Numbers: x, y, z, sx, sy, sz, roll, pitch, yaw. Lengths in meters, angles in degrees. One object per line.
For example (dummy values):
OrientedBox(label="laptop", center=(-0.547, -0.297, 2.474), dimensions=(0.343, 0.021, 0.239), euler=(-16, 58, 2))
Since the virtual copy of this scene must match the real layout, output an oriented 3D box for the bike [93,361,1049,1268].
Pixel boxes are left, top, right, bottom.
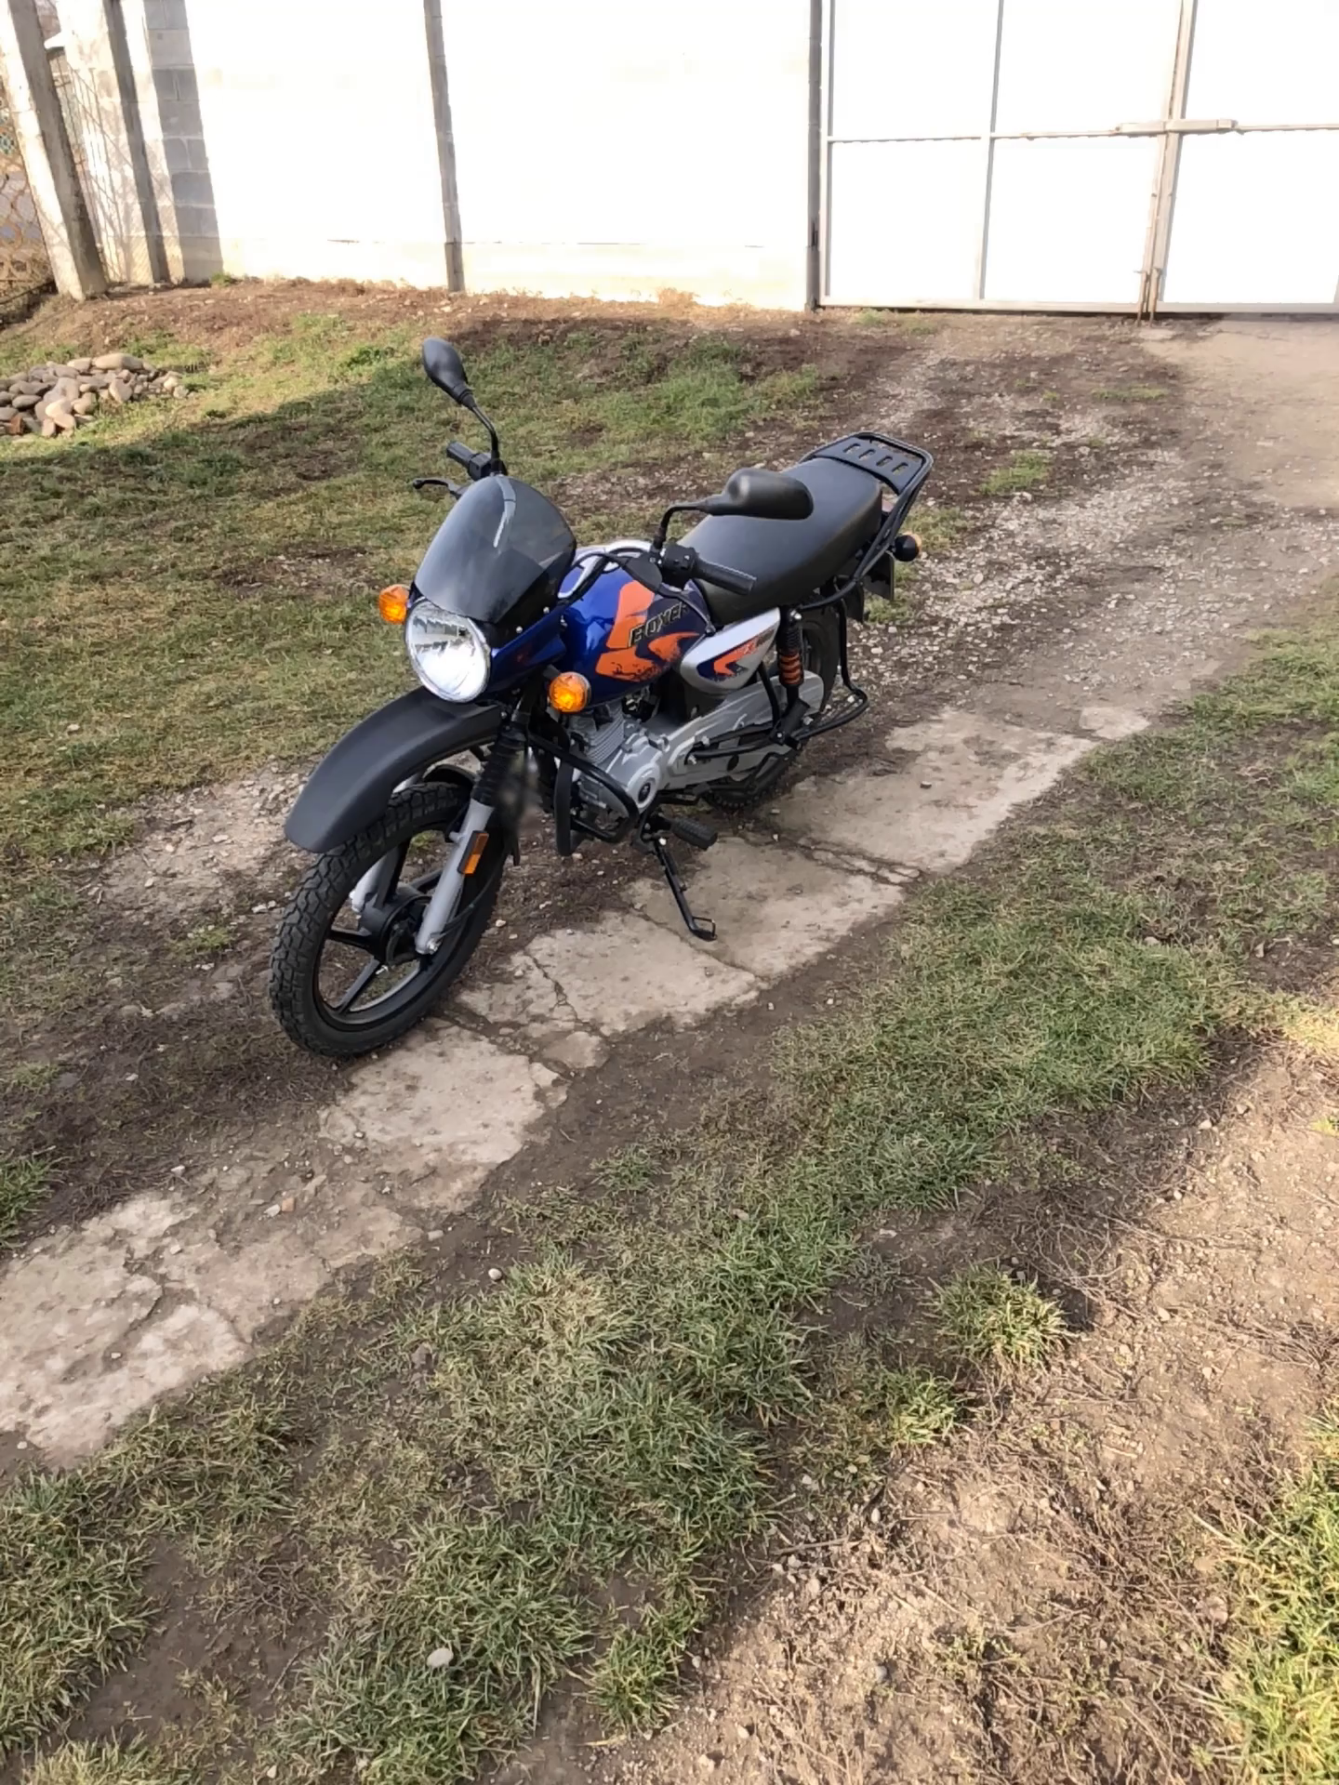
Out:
OrientedBox(label="bike", center=(-0.050, -0.333, 3.000), dimensions=(0.808, 1.050, 1.787), euler=(19, 37, 33))
